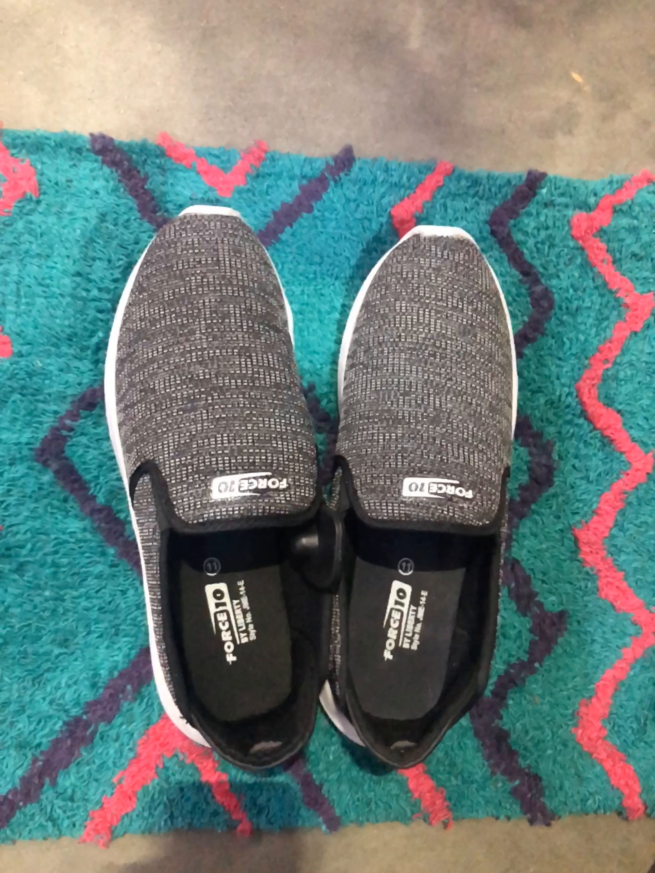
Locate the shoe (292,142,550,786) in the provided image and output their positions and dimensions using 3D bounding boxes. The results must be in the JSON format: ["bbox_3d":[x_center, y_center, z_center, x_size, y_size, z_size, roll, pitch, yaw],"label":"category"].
[{"bbox_3d":[0.051,0.014,0.430,0.110,0.100,0.330,5,84,-7],"label":"shoe"}]

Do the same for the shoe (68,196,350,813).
[{"bbox_3d":[-0.067,0.031,0.418,0.110,0.100,0.300,-6,85,-8],"label":"shoe"}]
